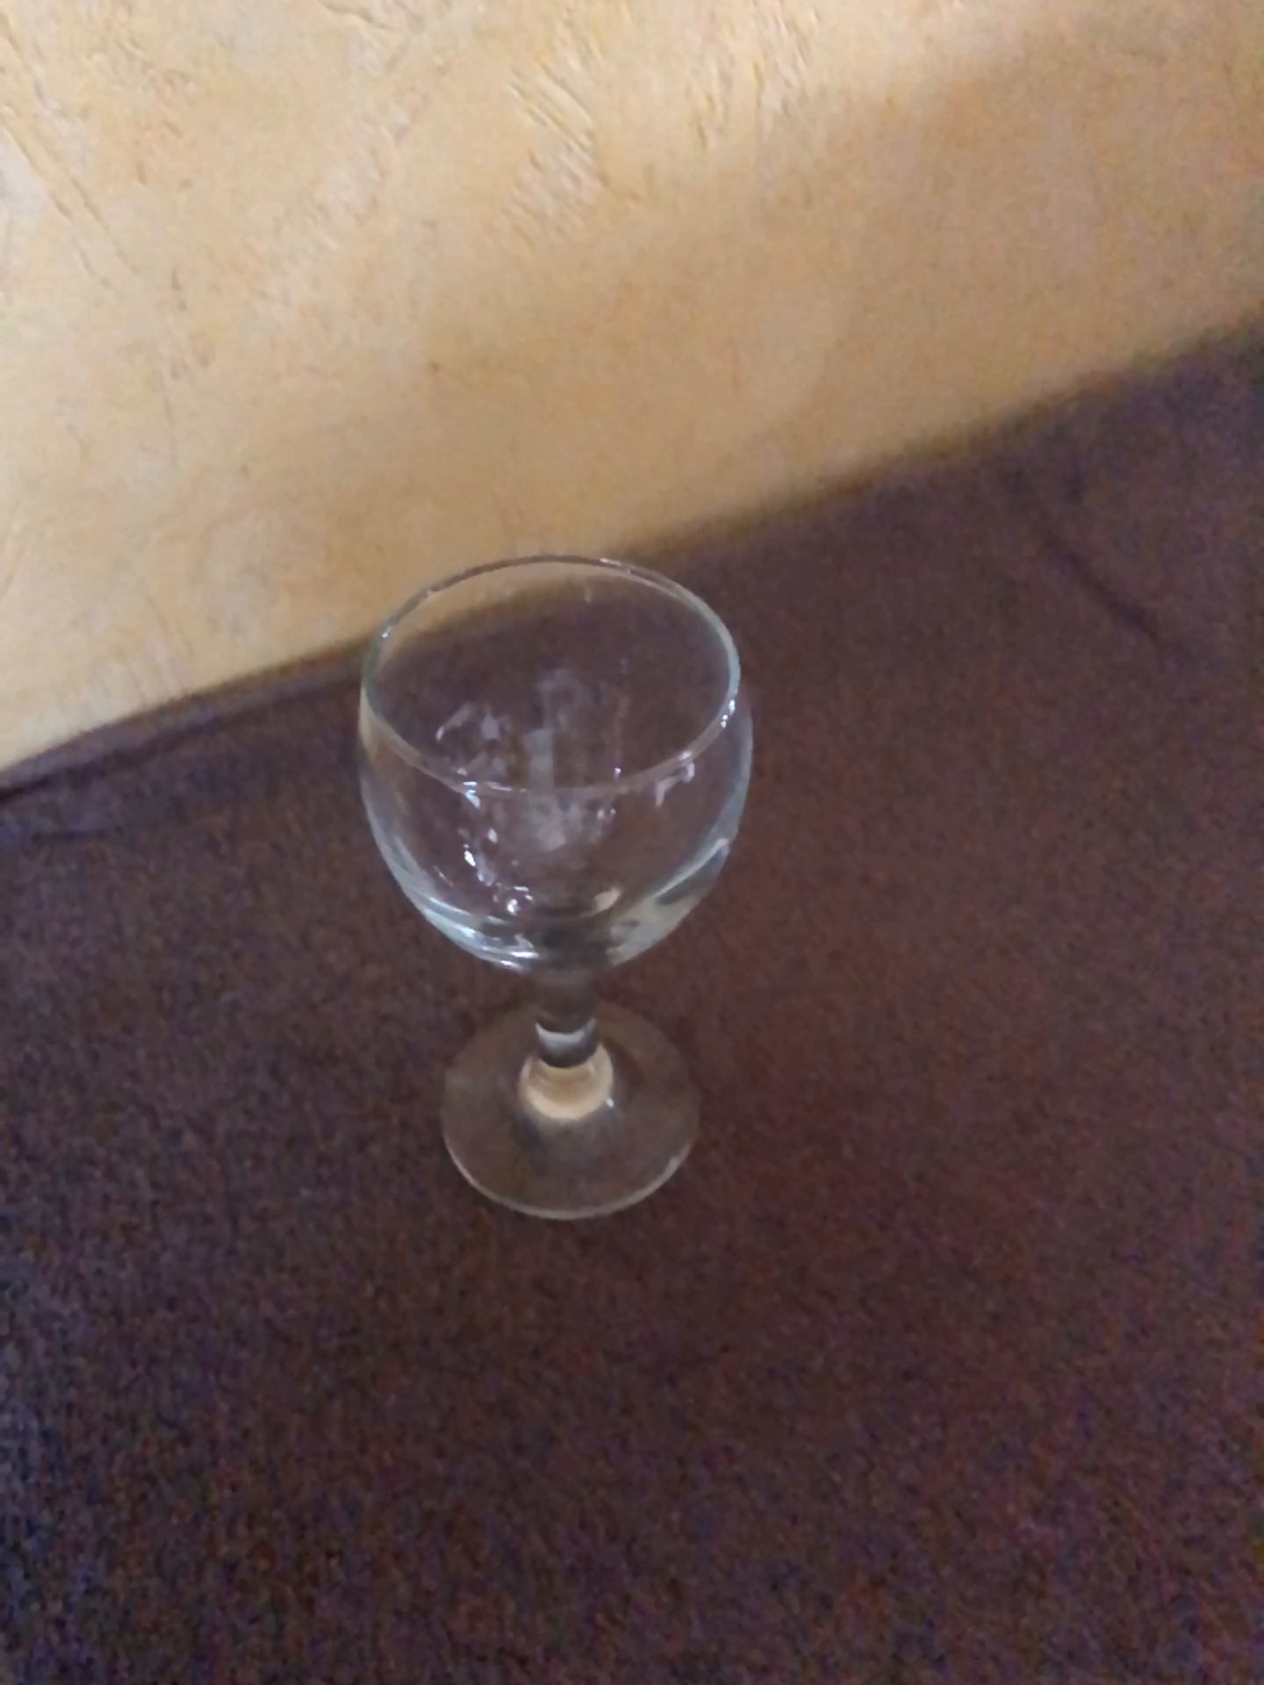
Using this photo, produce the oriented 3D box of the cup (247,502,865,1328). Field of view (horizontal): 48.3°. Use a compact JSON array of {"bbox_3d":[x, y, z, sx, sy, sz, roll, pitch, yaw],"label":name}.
[{"bbox_3d":[-0.011,0.018,0.270,0.070,0.129,0.070,0,46,0],"label":"cup"}]
